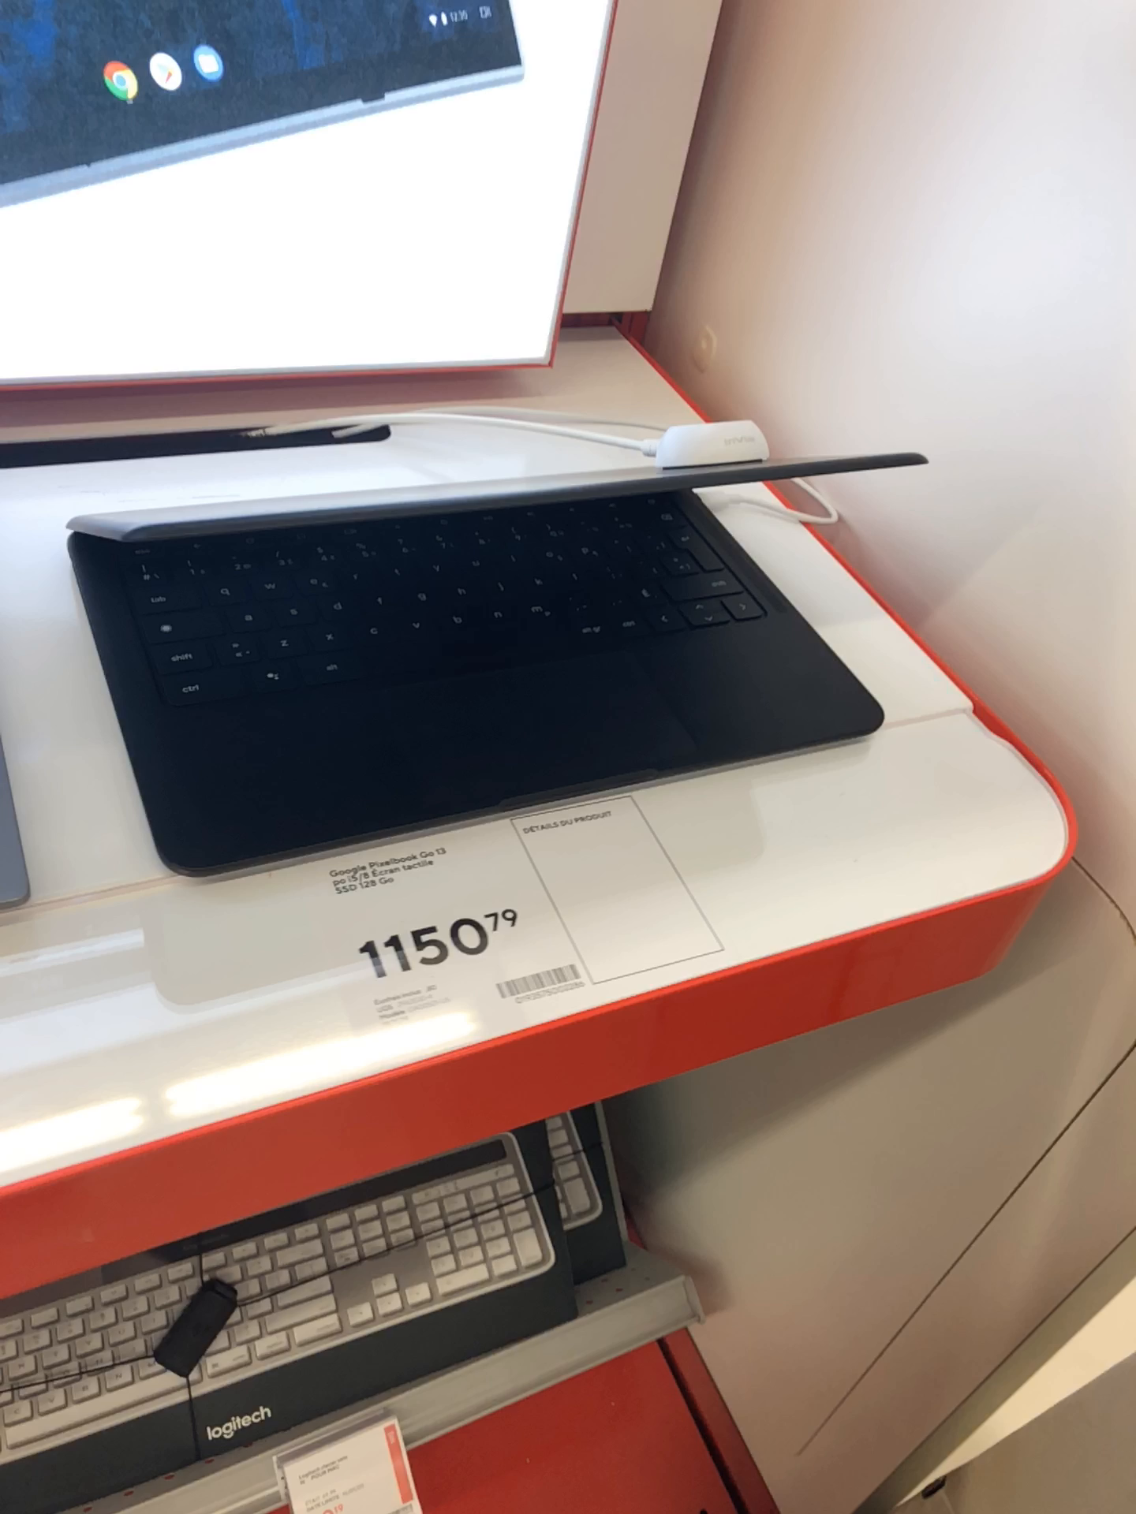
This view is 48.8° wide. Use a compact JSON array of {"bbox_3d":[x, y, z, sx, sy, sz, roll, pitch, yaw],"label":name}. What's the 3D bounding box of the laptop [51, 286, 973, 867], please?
[{"bbox_3d":[-0.030,-0.094,0.508,0.298,0.106,0.199,-11,47,-25],"label":"laptop"}]
